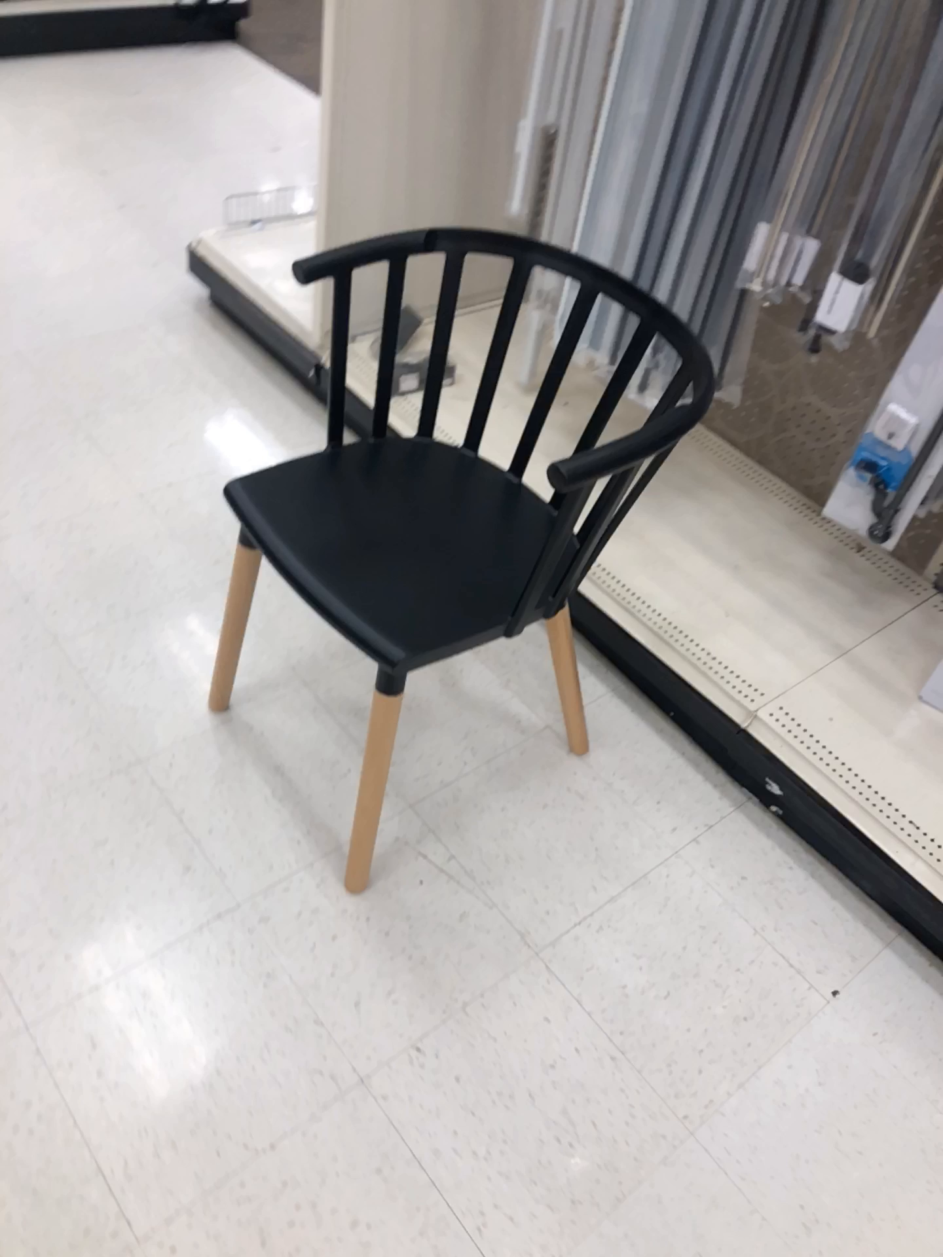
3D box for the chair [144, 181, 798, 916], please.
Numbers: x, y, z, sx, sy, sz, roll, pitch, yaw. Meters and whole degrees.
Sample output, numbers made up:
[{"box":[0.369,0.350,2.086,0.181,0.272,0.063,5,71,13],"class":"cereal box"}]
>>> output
[{"box":[-0.047,-0.127,1.466,0.569,0.730,0.535,-24,53,-31],"class":"chair"}]
